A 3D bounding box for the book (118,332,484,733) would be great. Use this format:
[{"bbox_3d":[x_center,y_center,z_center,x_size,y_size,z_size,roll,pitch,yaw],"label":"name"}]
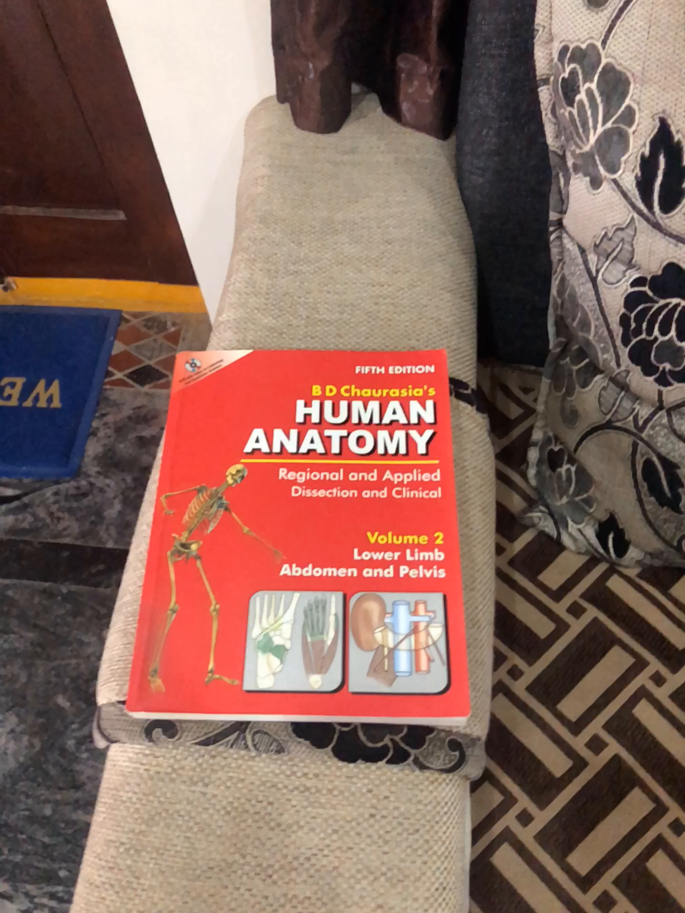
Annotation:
[{"bbox_3d":[-0.023,0.040,0.541,0.220,0.040,0.290,0,61,3],"label":"book"}]
